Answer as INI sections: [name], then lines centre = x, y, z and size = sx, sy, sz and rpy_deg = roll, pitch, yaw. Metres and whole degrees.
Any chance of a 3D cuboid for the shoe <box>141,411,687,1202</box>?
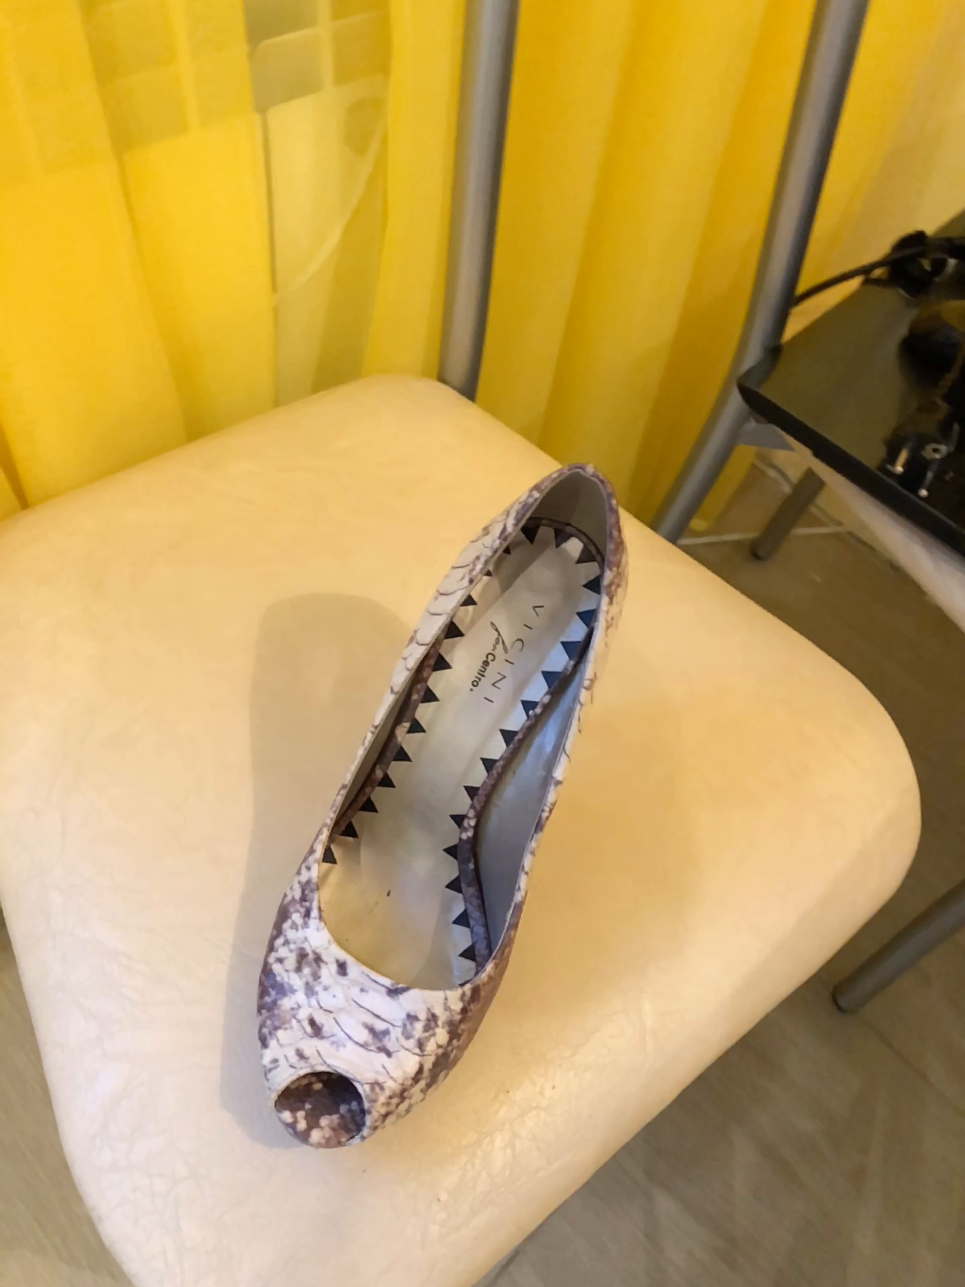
[shoe]
centre = -0.014, 0.048, 0.341
size = 0.080, 0.129, 0.201
rpy_deg = 21, 53, 5
